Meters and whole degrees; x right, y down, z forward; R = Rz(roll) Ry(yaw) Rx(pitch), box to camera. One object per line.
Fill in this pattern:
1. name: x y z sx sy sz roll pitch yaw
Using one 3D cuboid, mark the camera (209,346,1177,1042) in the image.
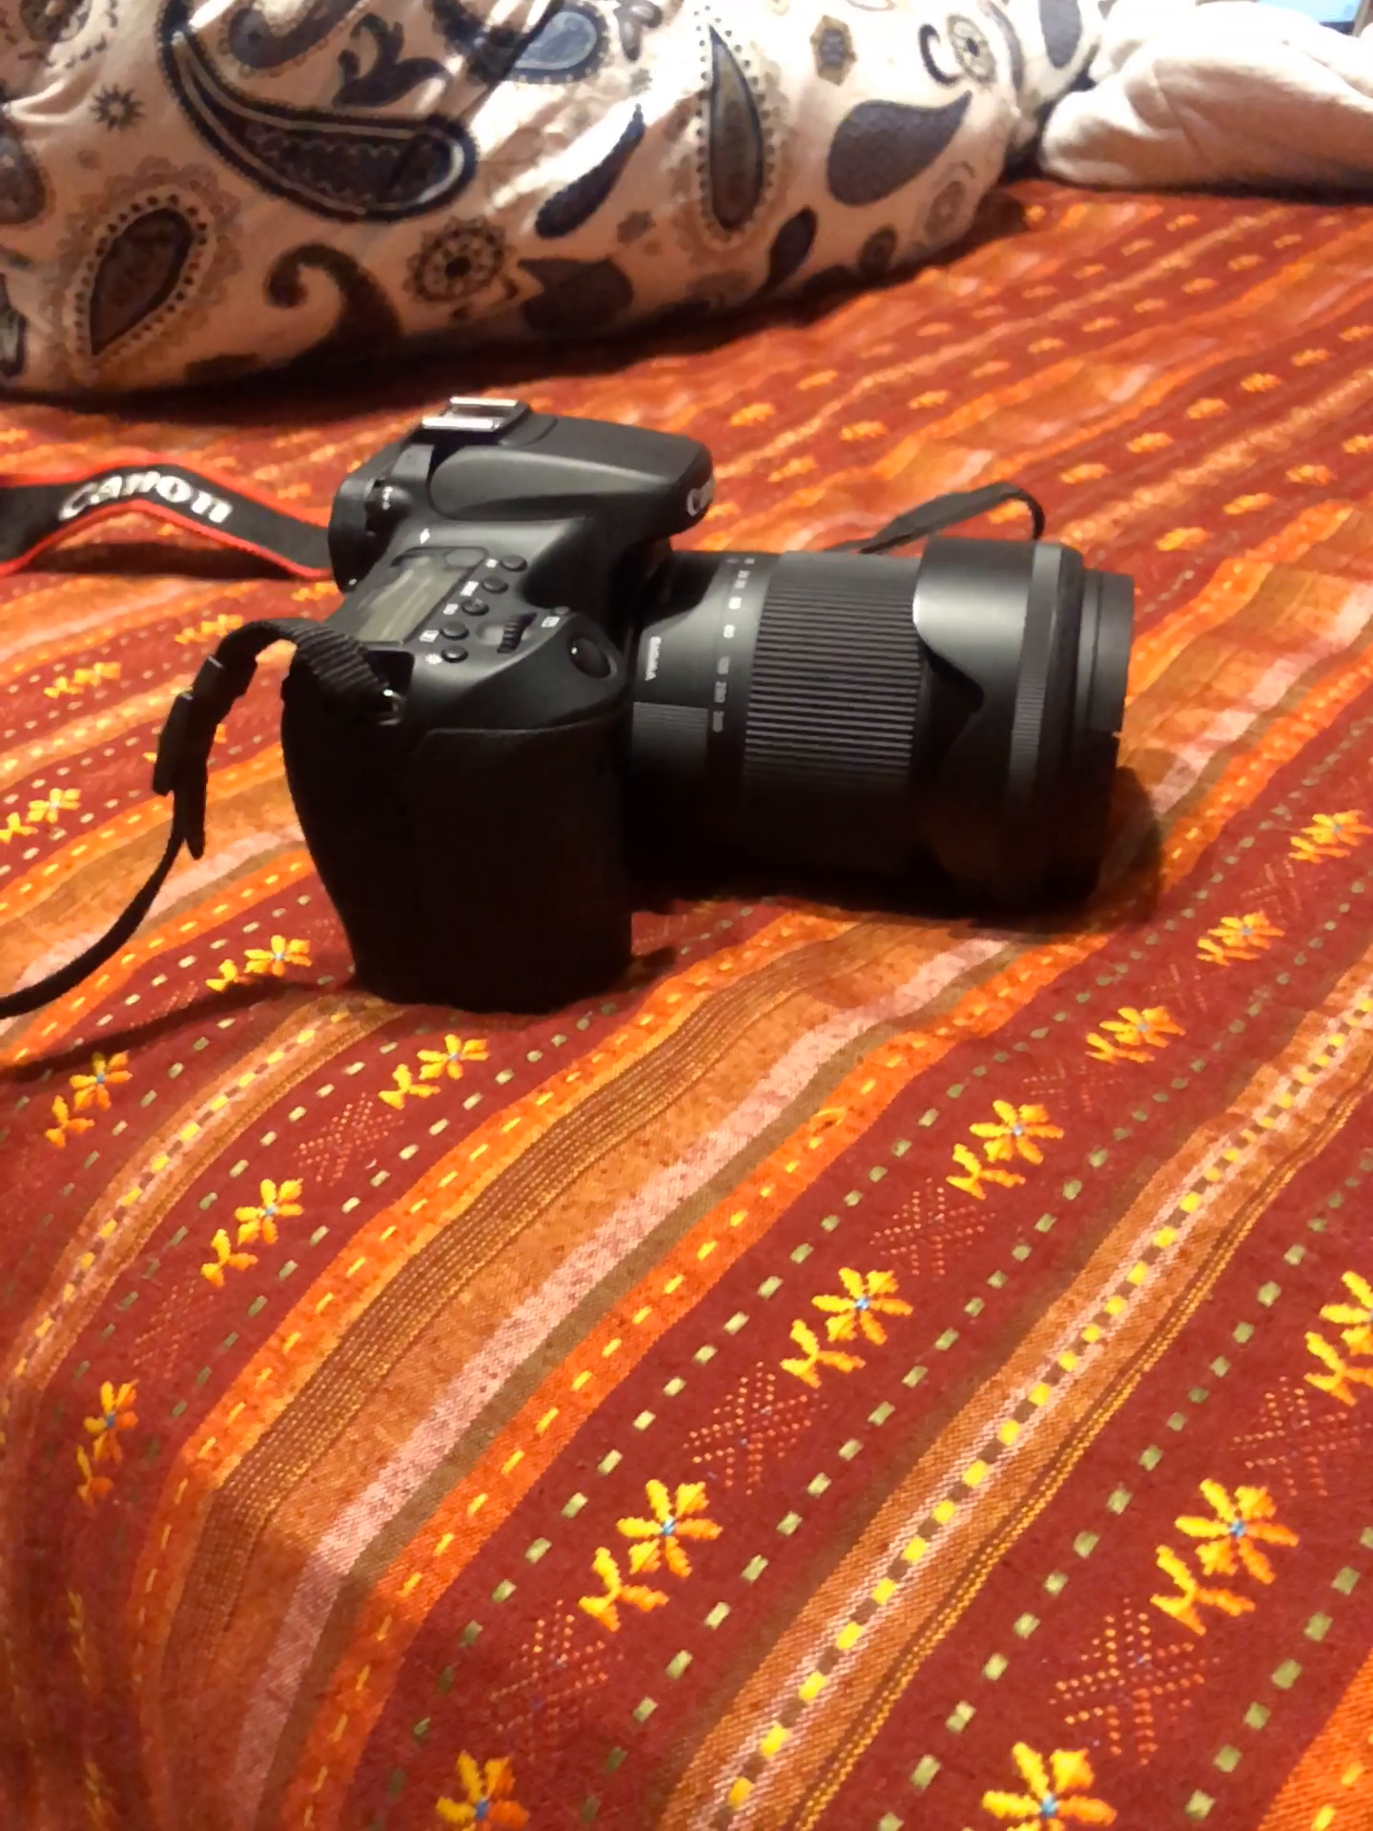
1. camera: 0.011 -0.054 0.345 0.170 0.099 0.131 1 36 10
